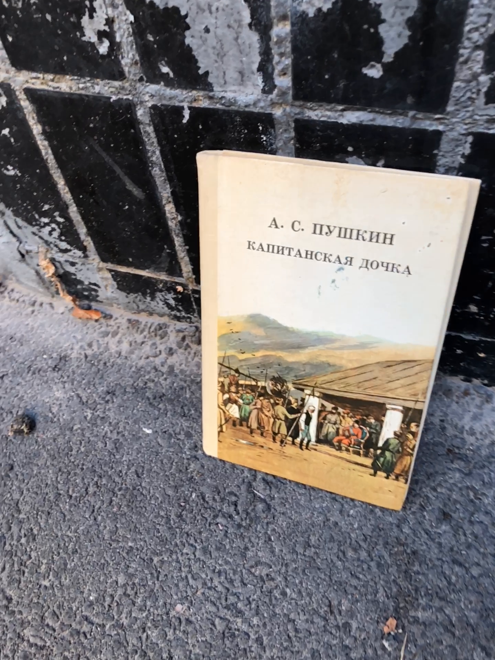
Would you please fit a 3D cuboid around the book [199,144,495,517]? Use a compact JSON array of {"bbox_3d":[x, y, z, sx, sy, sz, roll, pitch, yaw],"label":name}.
[{"bbox_3d":[0.044,0.009,0.330,0.150,0.214,0.020,12,32,16],"label":"book"}]
